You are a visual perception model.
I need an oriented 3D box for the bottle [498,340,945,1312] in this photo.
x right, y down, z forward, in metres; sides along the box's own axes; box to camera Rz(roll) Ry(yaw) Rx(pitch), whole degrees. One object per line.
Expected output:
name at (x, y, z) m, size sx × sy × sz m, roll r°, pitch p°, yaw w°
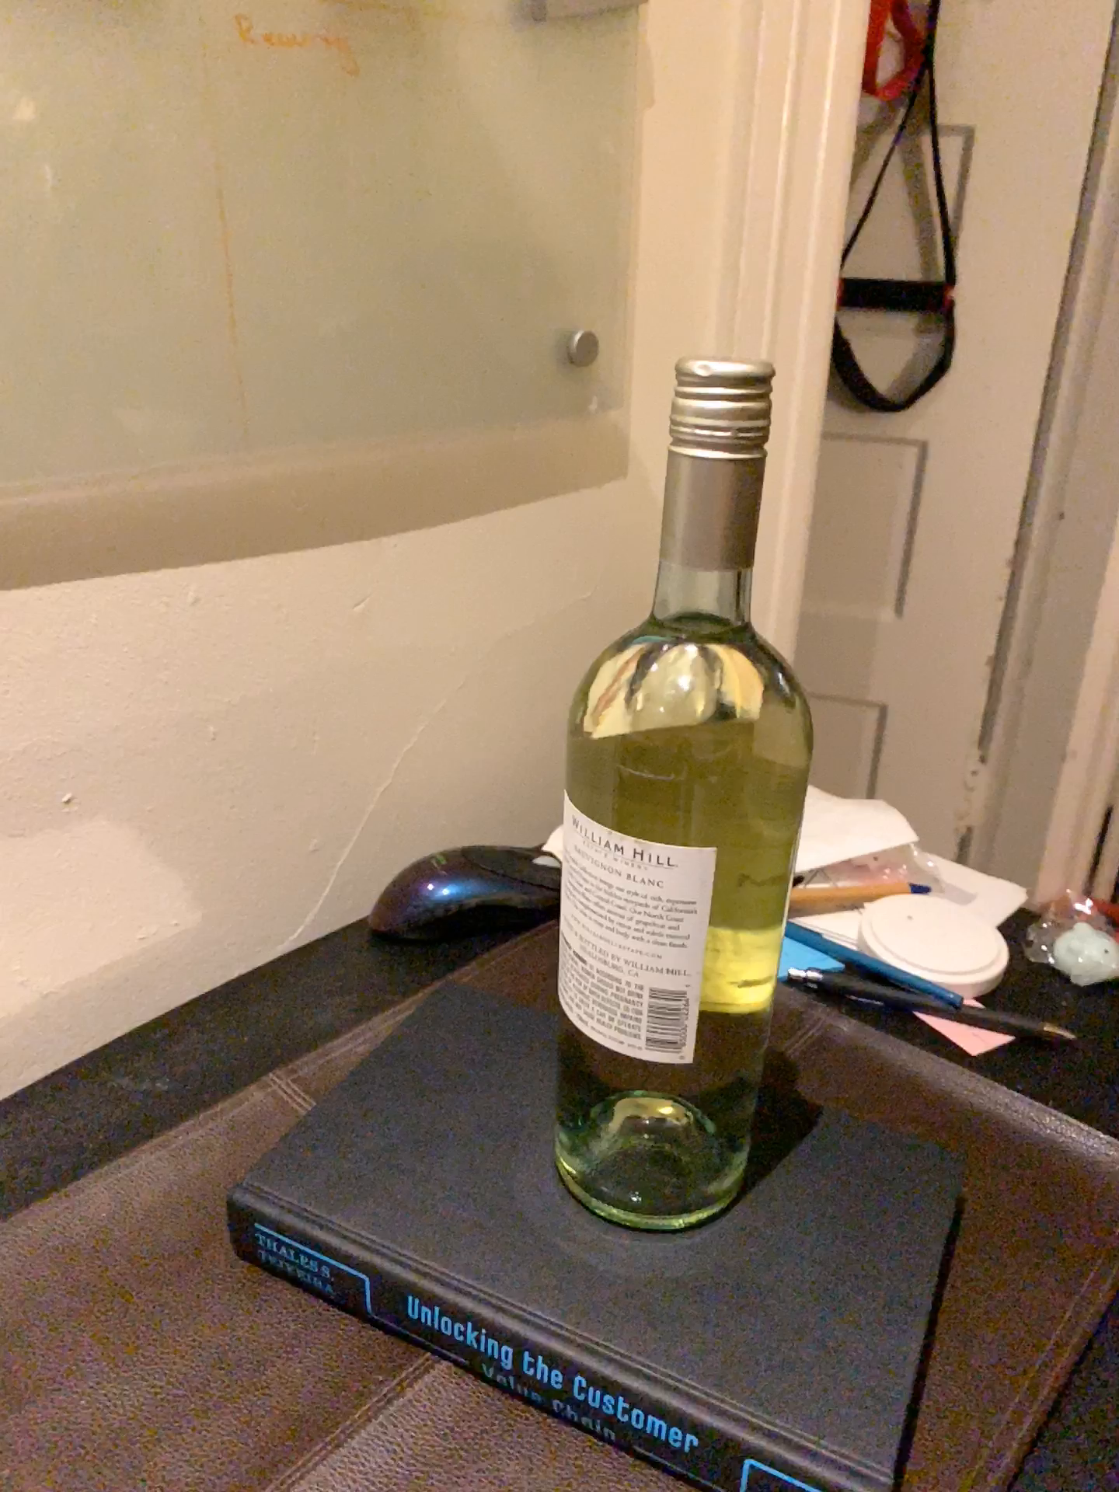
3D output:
bottle at (0.044, 0.027, 0.387) m, size 0.090 × 0.298 × 0.090 m, roll 1°, pitch 23°, yaw -1°
